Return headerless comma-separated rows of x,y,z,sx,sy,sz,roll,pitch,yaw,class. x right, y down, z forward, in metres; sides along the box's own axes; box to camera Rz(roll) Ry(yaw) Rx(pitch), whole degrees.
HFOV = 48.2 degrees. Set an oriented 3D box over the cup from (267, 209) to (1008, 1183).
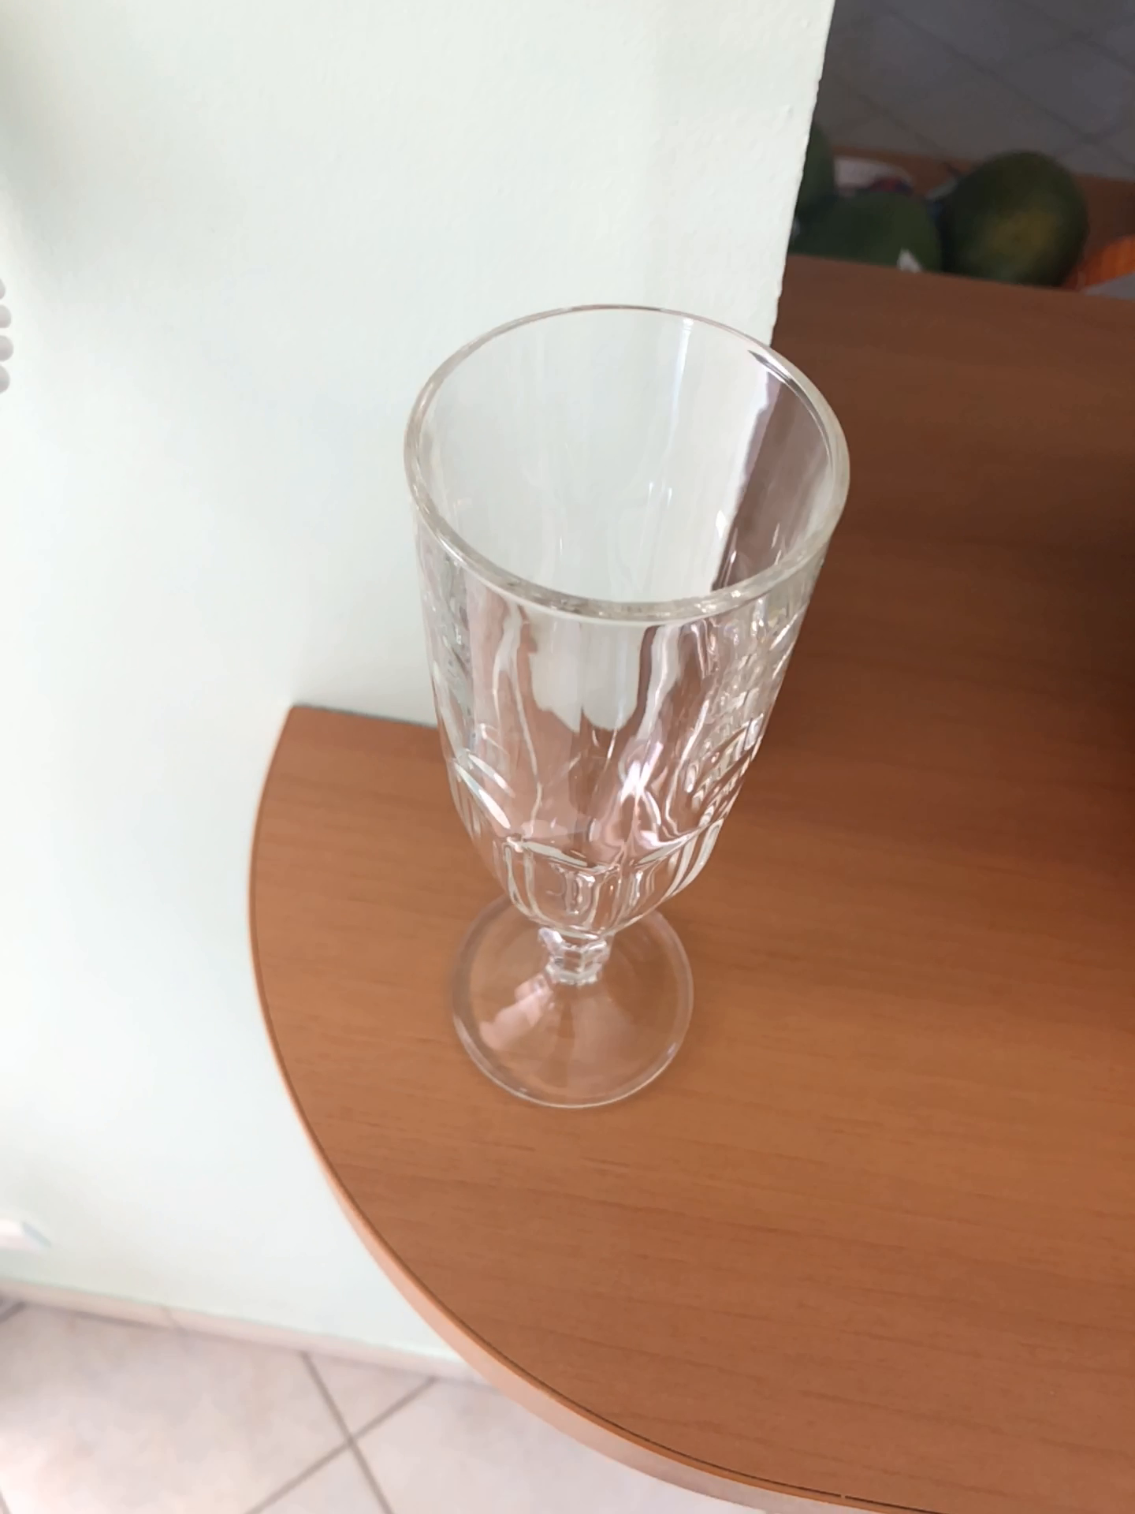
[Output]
0.006,0.006,0.227,0.070,0.169,0.060,35,62,20,cup
